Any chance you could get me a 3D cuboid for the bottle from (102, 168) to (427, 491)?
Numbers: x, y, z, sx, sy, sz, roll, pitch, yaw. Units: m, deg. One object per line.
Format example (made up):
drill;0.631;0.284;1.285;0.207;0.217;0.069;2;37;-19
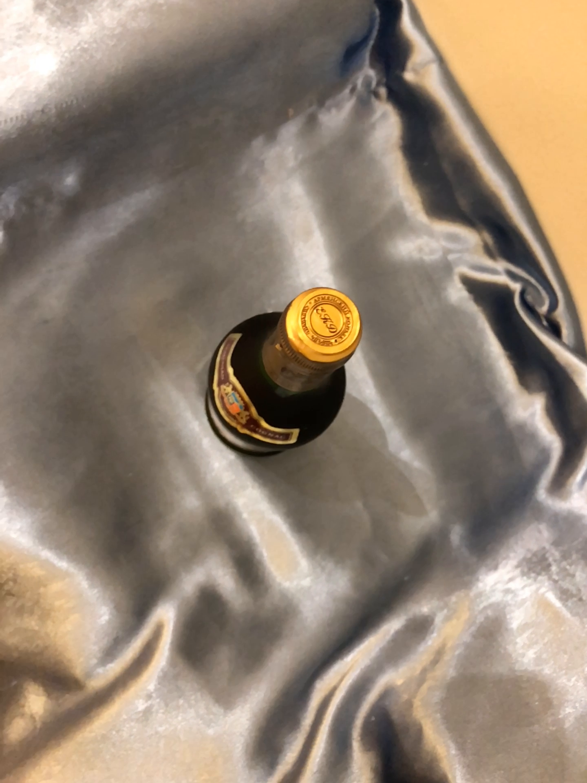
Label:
bottle;-0.017;-0.006;0.334;0.074;0.248;0.080;1;82;-4
